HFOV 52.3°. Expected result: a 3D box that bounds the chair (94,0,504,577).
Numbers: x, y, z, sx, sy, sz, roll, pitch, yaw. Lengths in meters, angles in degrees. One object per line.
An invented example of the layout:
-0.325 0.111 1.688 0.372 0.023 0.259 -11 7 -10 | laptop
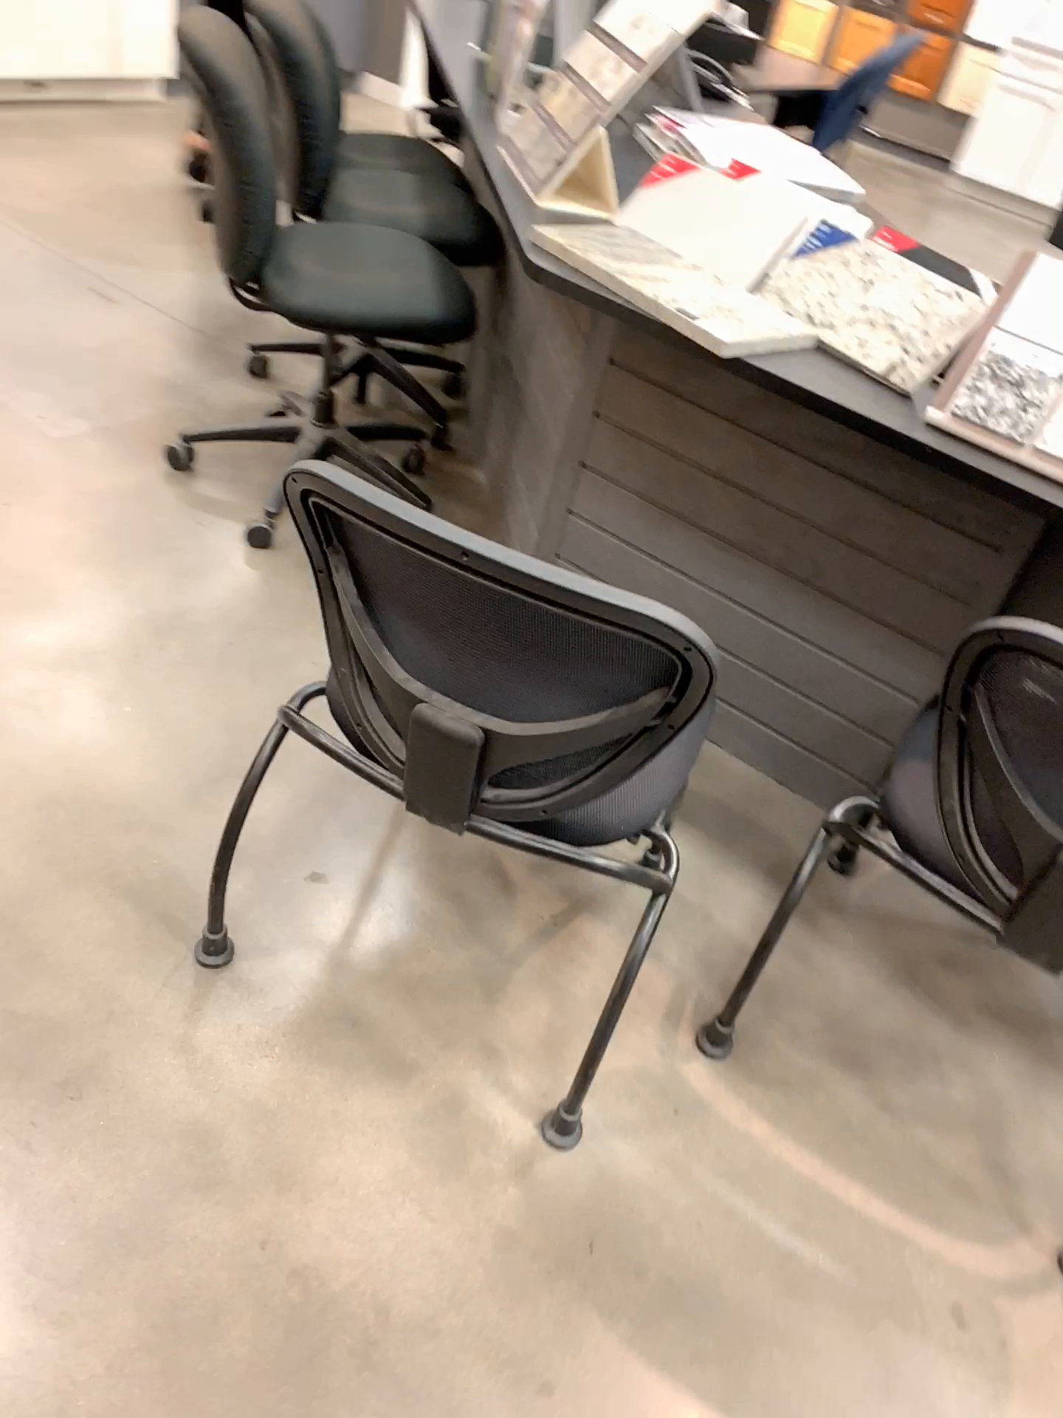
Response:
-0.473 -0.887 2.273 0.644 0.886 0.708 7 41 -10 | chair

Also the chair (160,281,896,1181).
-0.024 0.009 1.371 0.604 0.777 0.597 23 39 10 | chair

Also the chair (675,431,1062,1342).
0.683 0.196 1.377 0.595 0.777 0.587 32 41 20 | chair
